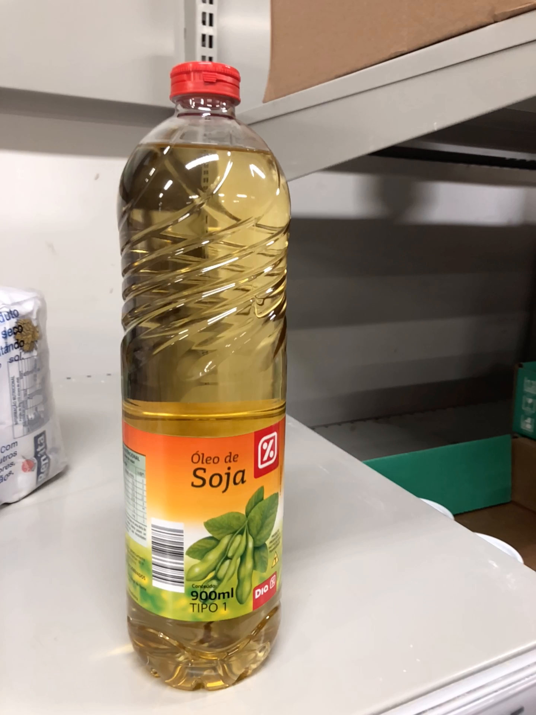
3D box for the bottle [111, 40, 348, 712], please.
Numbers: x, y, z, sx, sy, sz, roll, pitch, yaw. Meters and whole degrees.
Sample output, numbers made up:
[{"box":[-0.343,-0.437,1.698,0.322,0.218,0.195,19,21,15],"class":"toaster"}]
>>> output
[{"box":[-0.027,0.013,0.268,0.080,0.259,0.070,-1,13,-19],"class":"bottle"}]
